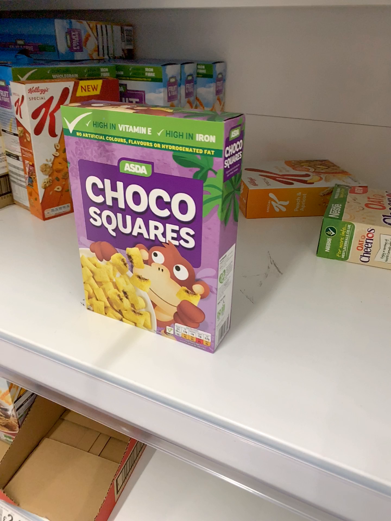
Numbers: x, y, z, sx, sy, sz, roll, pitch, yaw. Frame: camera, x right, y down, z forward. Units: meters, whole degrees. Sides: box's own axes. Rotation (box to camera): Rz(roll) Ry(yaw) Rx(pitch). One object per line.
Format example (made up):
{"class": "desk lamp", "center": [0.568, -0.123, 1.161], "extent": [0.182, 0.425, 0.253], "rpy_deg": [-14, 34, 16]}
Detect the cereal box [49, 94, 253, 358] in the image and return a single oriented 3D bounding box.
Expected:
{"class": "cereal box", "center": [-0.048, -0.039, 0.437], "extent": [0.190, 0.248, 0.060], "rpy_deg": [15, 31, 24]}
